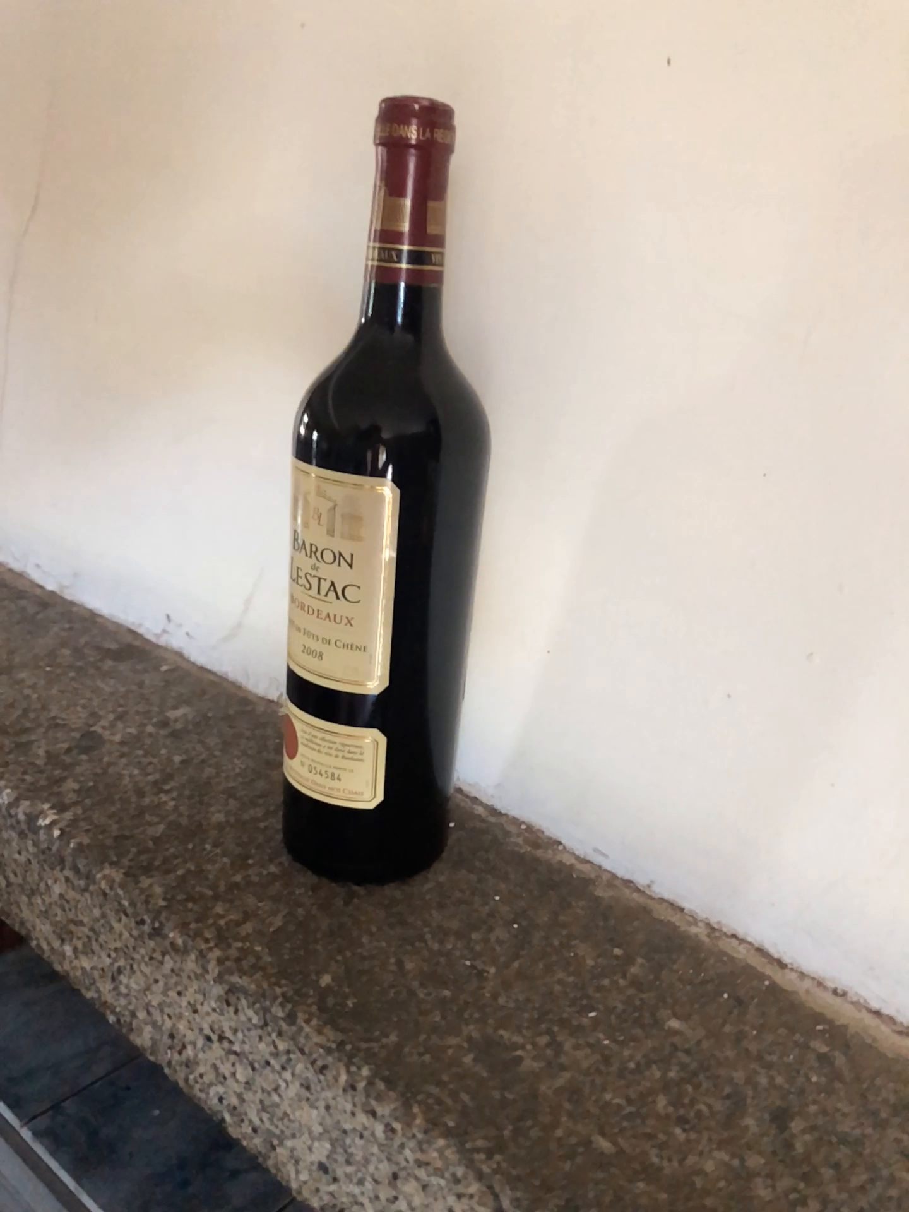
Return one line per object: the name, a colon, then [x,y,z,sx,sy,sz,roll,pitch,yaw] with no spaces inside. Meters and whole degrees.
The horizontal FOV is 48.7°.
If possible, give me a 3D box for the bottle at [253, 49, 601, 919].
bottle: [-0.017,-0.038,0.368,0.080,0.279,0.070,20,22,40]
